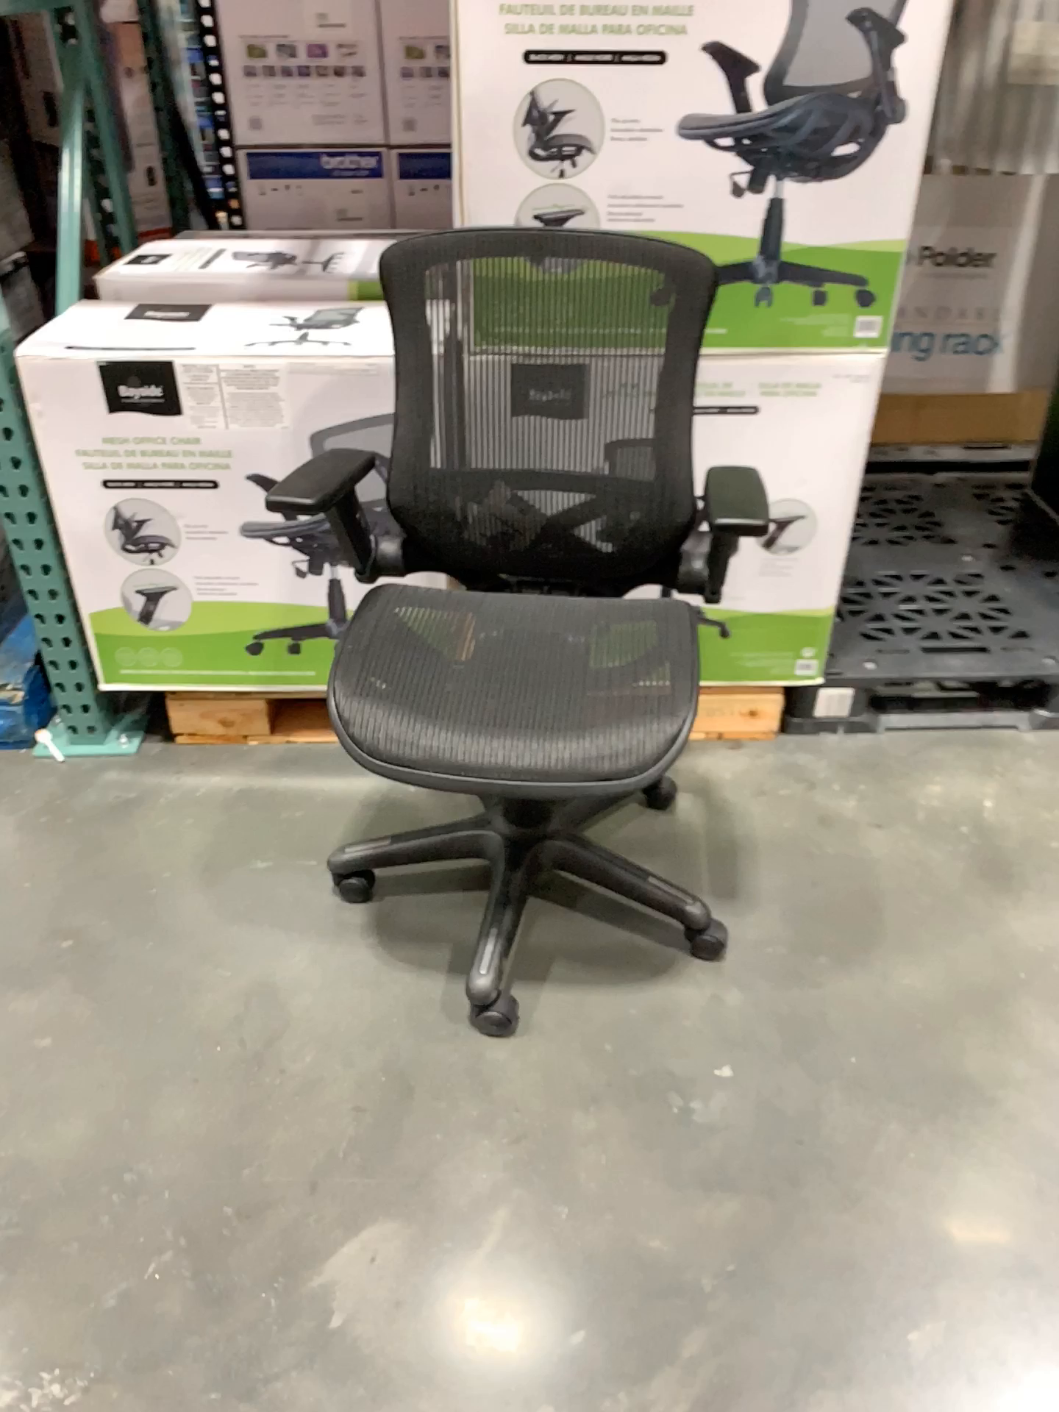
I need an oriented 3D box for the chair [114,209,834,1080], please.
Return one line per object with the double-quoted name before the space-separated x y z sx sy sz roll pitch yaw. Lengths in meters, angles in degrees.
"chair" -0.015 -0.115 1.584 0.675 0.987 0.739 4 34 6
